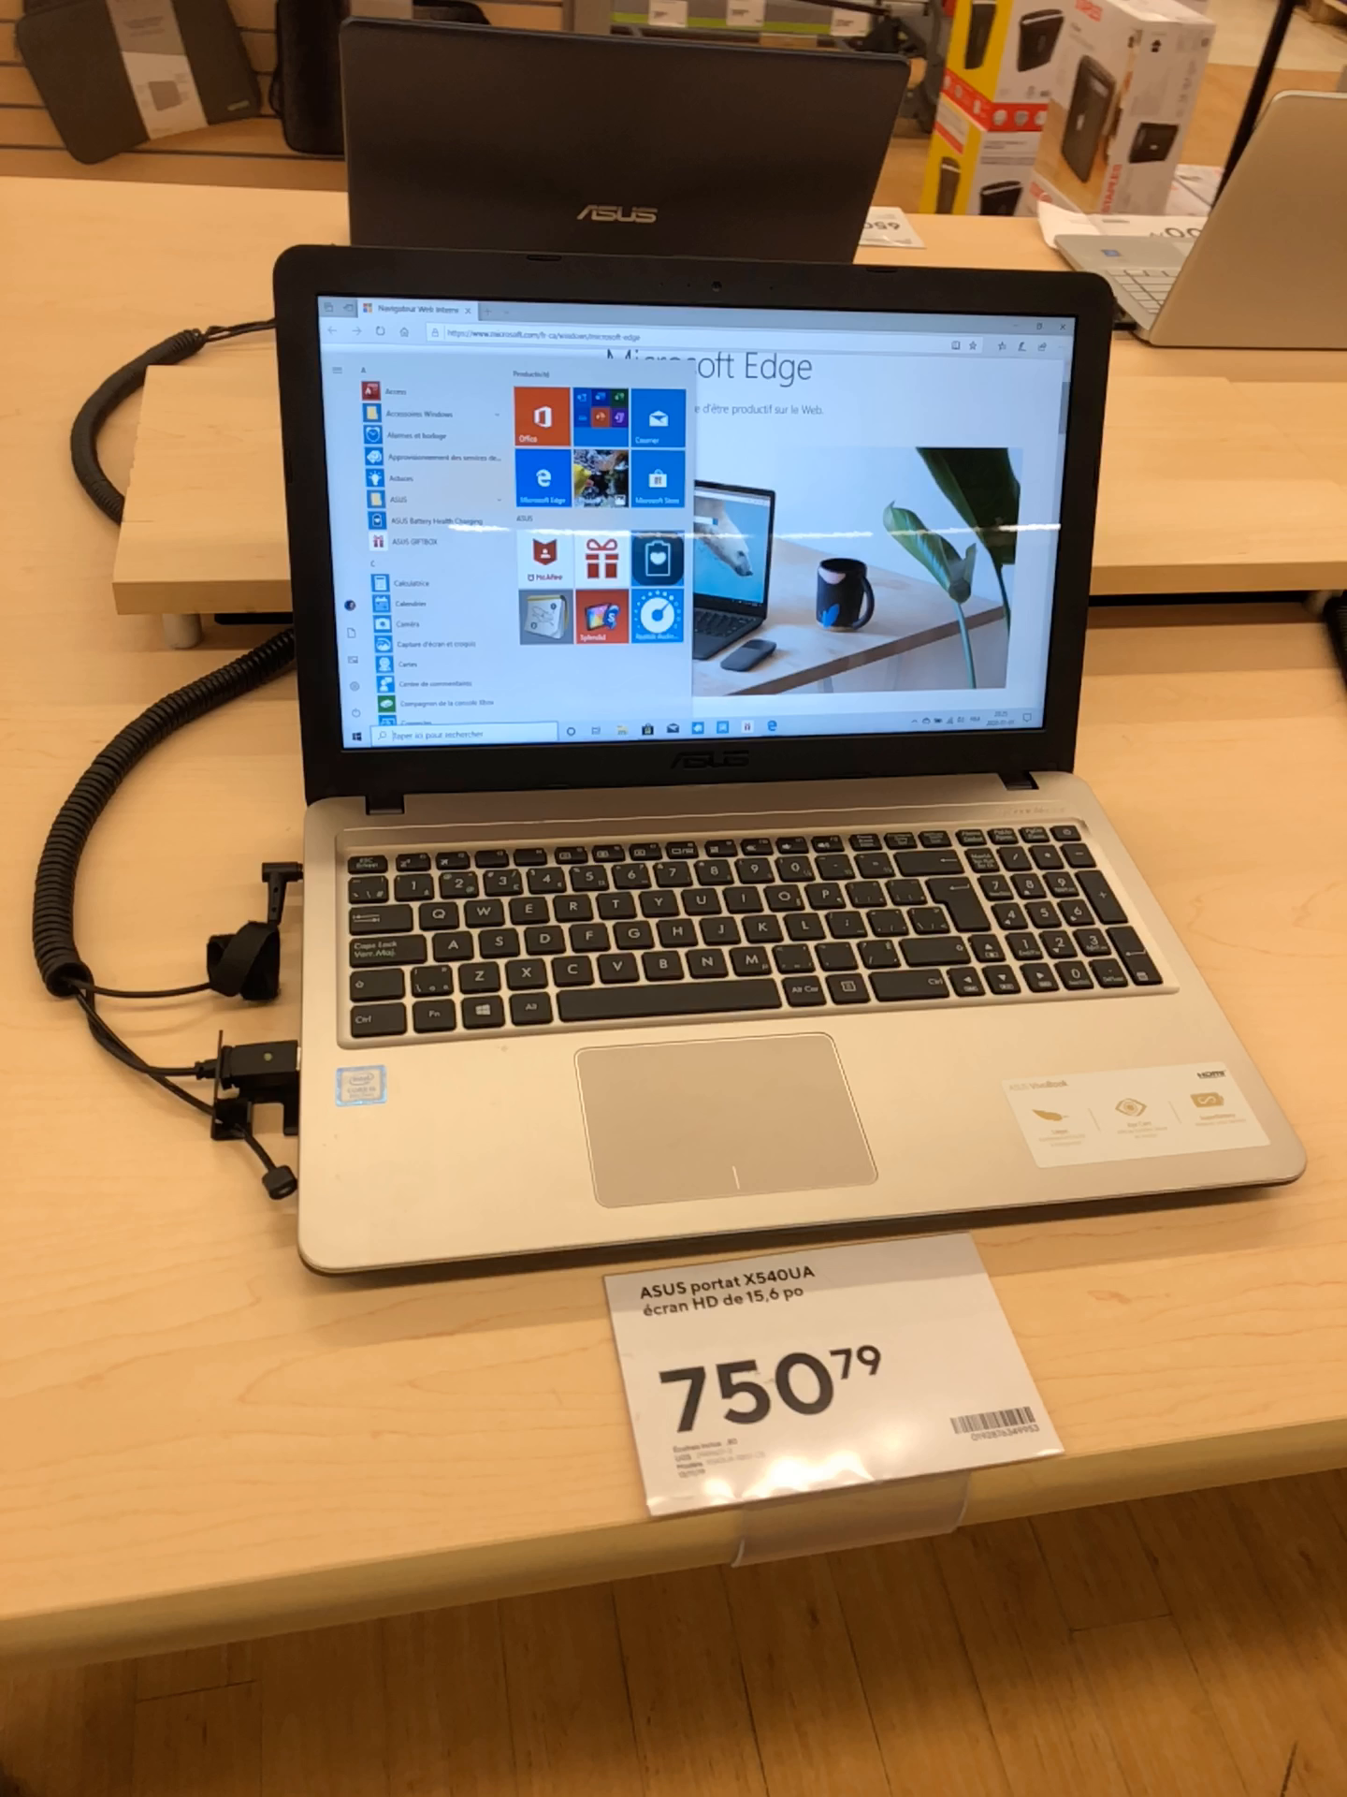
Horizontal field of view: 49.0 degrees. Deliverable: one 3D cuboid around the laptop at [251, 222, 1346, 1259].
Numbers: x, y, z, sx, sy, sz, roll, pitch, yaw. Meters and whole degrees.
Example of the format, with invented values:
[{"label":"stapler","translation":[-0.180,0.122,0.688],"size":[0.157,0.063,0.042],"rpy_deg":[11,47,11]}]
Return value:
[{"label":"laptop","translation":[0.035,-0.088,0.616],"size":[0.383,0.215,0.360],"rpy_deg":[-3,45,-12]}]
